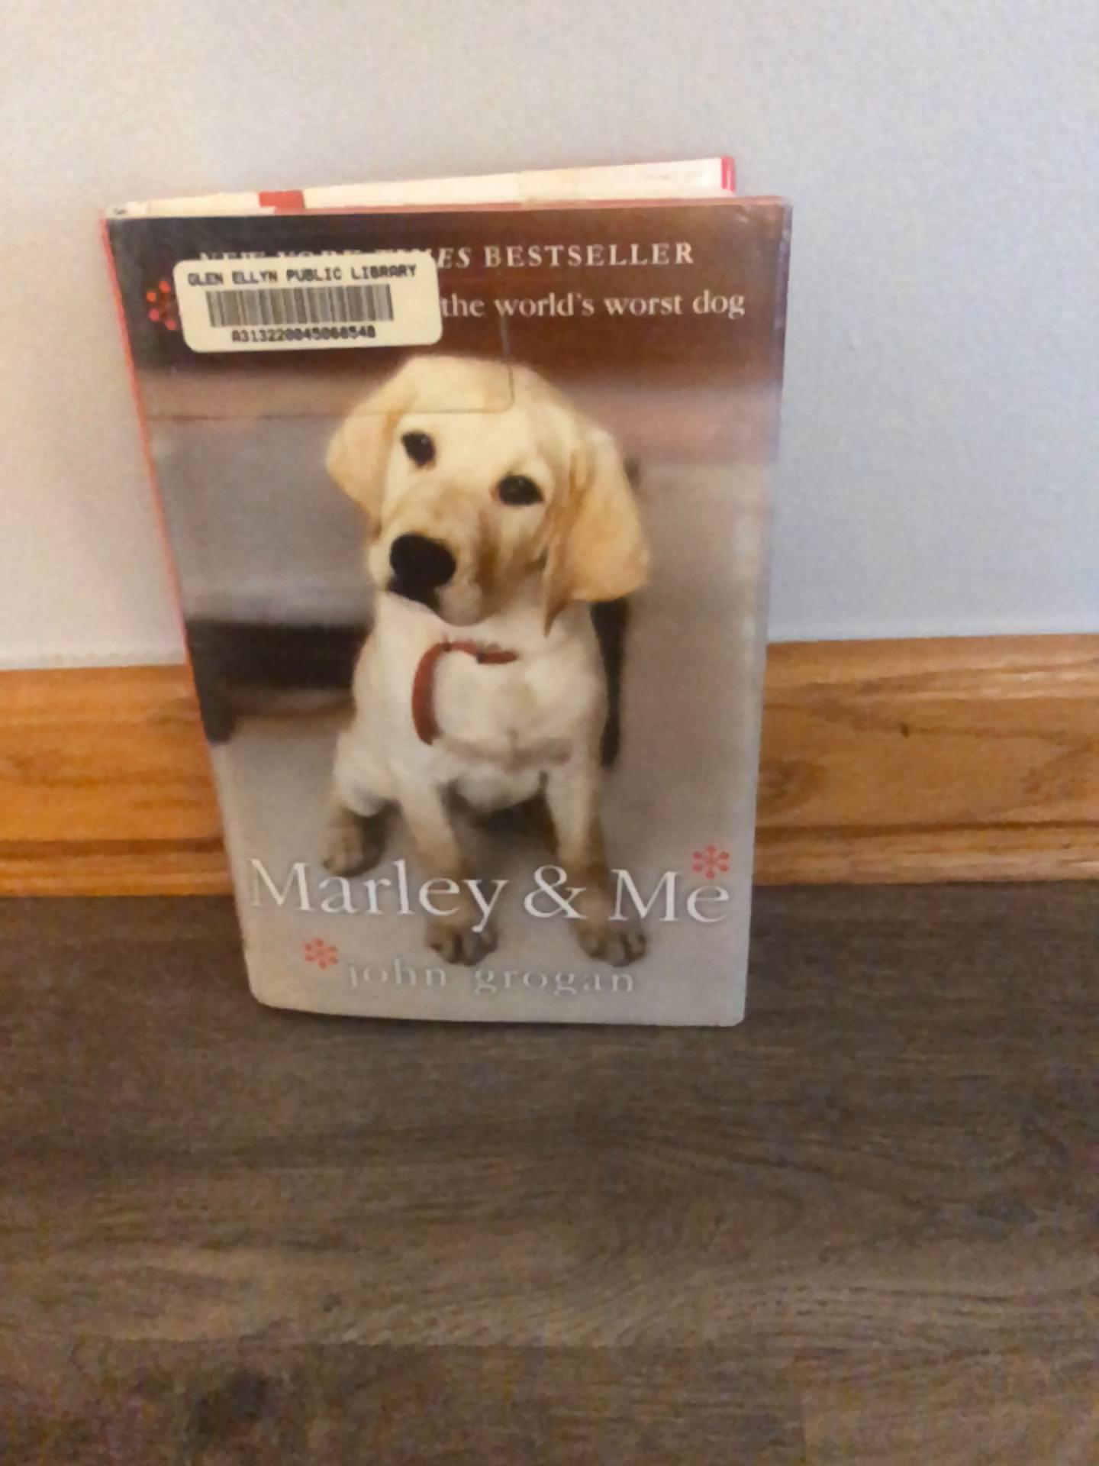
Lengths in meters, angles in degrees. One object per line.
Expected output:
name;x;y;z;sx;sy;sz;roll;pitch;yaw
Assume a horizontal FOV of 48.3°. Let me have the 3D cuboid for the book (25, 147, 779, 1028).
book;-0.023;-0.022;0.312;0.151;0.219;0.040;-1;29;5
